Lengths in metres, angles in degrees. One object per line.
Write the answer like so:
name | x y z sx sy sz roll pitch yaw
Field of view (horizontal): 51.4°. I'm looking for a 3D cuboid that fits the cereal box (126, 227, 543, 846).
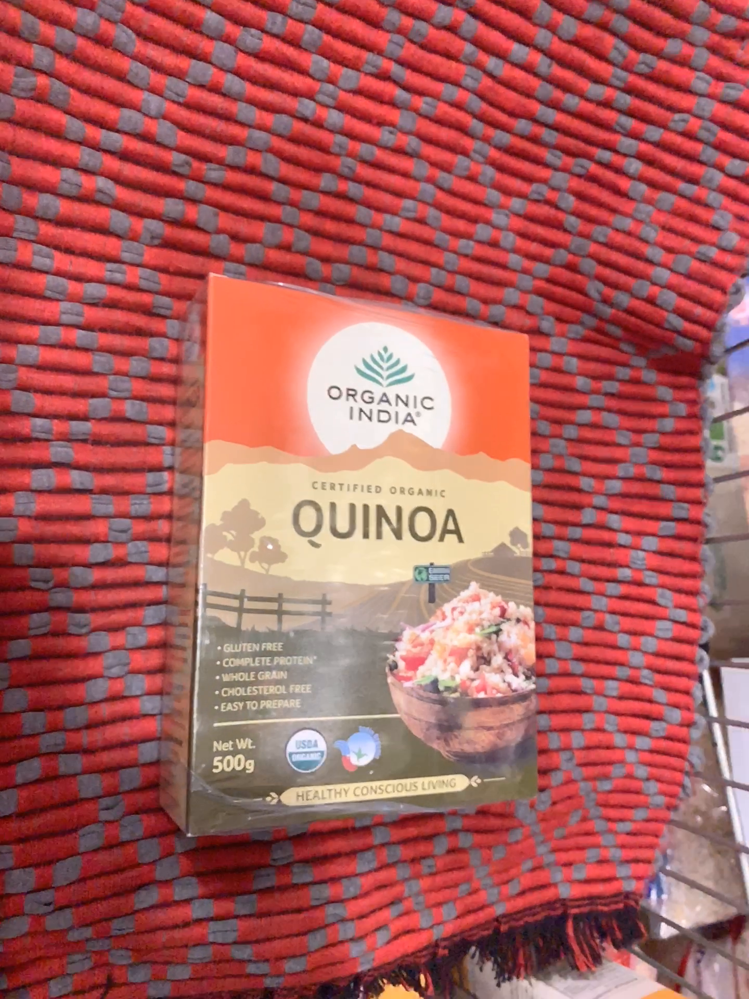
cereal box | -0.013 0.015 0.285 0.130 0.070 0.180 5 83 -25
